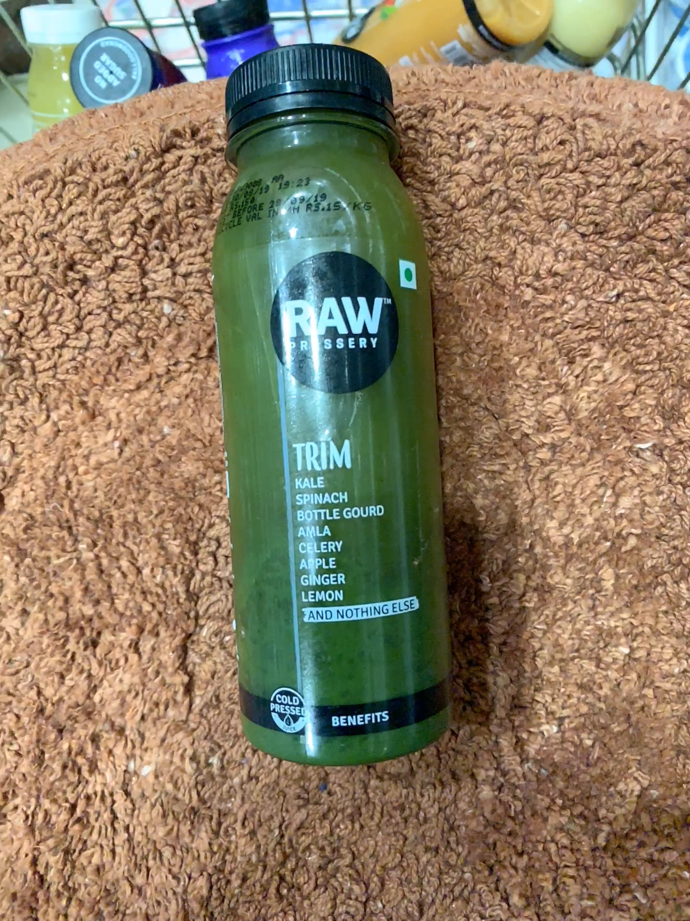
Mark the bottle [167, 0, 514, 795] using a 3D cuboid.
[{"bbox_3d":[-0.003,-0.014,0.161,0.060,0.050,0.150,-2,88,-4],"label":"bottle"}]

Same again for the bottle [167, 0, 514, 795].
[{"bbox_3d":[-0.003,-0.014,0.161,0.060,0.050,0.150,-2,88,-4],"label":"bottle"}]
